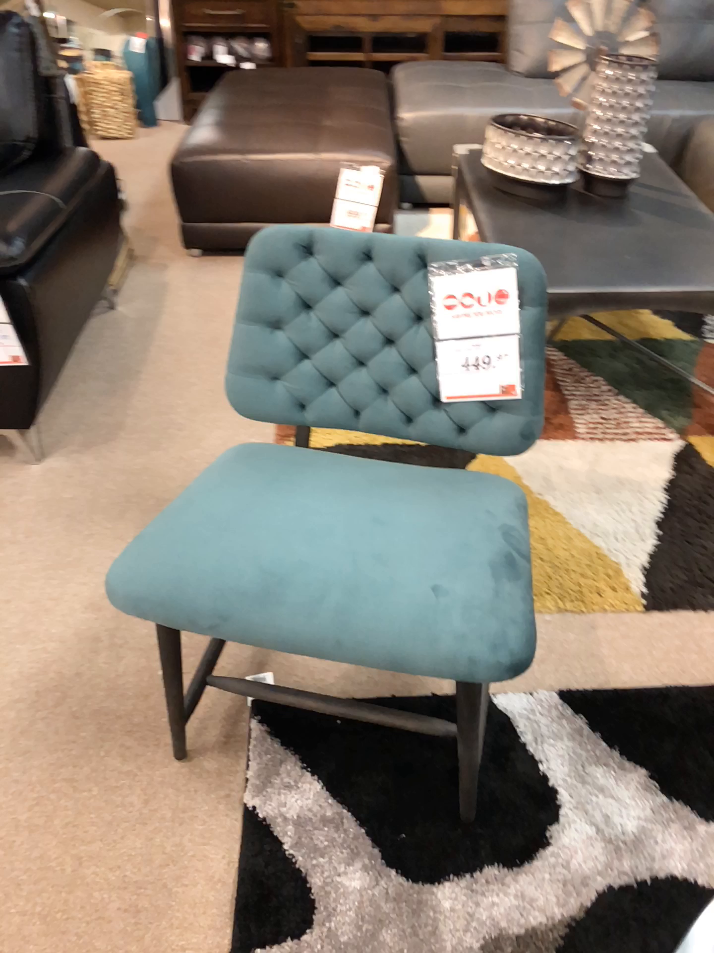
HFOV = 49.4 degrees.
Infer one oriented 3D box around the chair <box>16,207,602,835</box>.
[{"bbox_3d":[-0.023,0.070,1.264,0.639,0.765,0.534,9,40,9],"label":"chair"}]
